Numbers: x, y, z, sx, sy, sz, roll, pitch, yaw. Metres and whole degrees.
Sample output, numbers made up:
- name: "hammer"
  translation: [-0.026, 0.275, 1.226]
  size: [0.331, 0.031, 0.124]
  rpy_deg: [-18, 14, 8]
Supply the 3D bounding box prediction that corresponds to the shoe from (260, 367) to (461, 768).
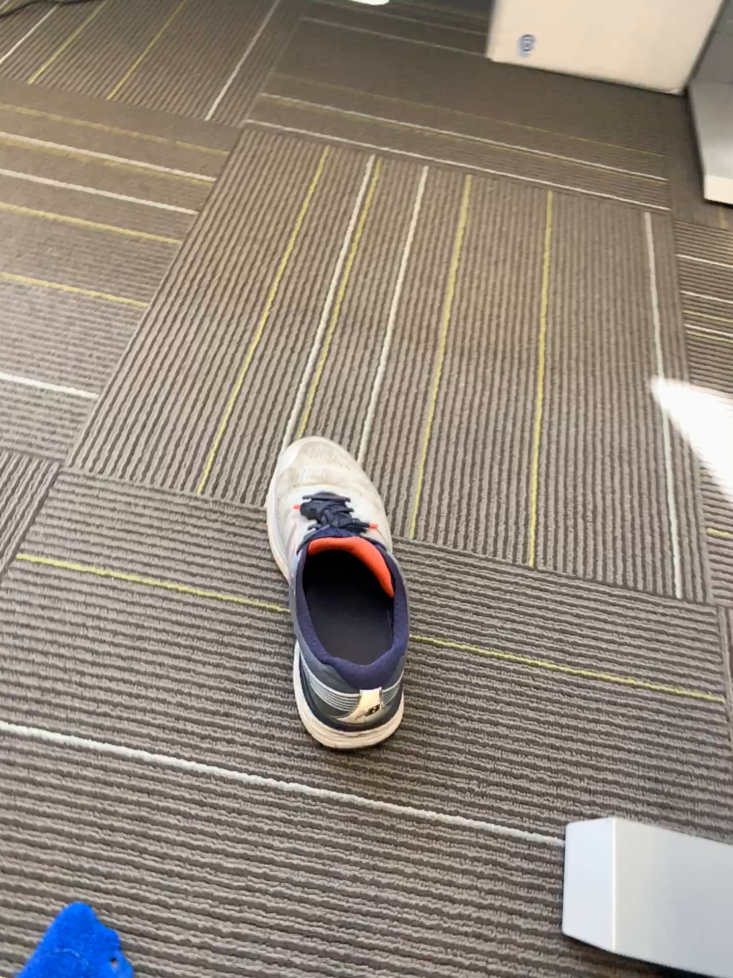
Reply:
- name: "shoe"
  translation: [-0.021, 0.050, 0.609]
  size: [0.110, 0.110, 0.301]
  rpy_deg: [-3, 55, -10]
